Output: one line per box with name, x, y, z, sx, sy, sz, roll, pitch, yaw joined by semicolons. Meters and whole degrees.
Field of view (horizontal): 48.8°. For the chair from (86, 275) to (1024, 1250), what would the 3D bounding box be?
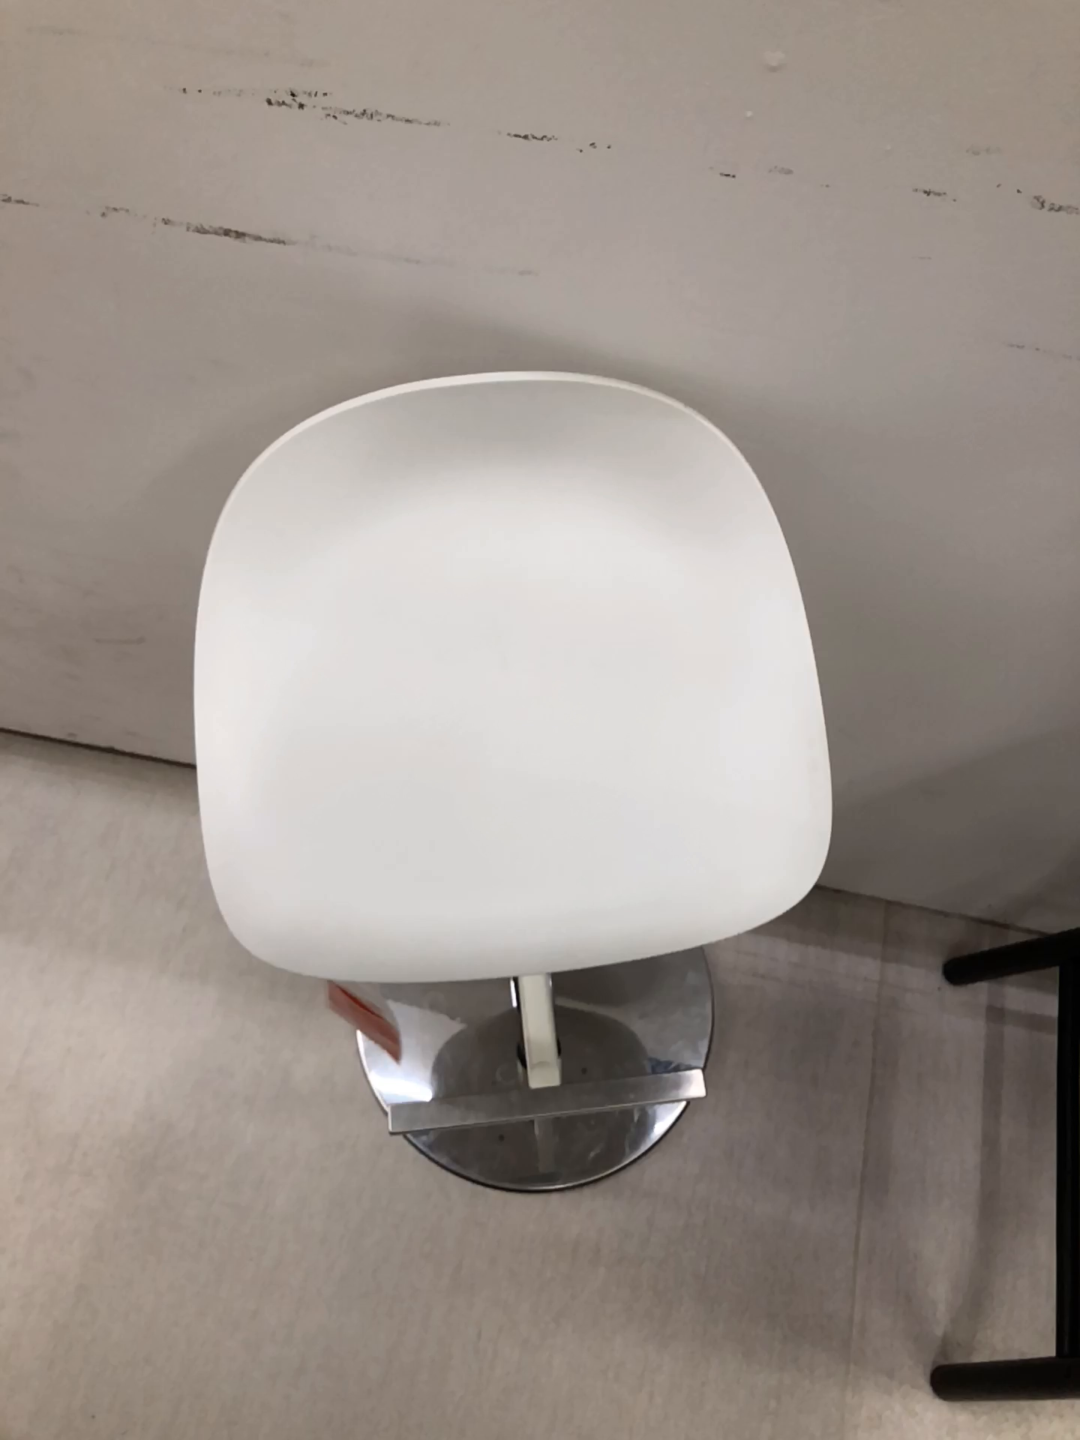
chair;-0.014;0.120;1.005;0.440;0.747;0.512;-6;63;-2
